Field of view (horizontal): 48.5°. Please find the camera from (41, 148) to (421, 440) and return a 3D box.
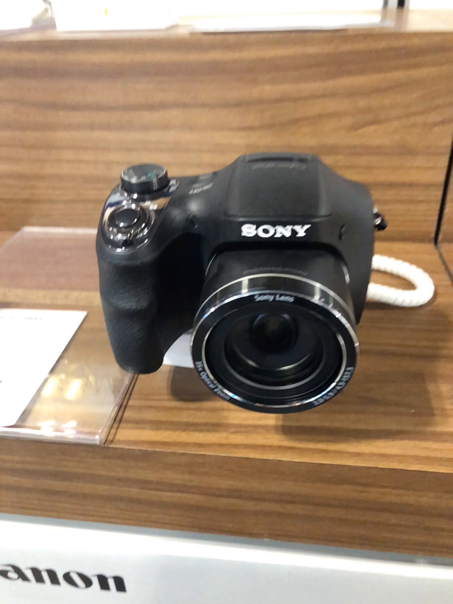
[{"bbox_3d":[0.004,-0.009,0.220,0.120,0.092,0.091,1,30,5],"label":"camera"}]
